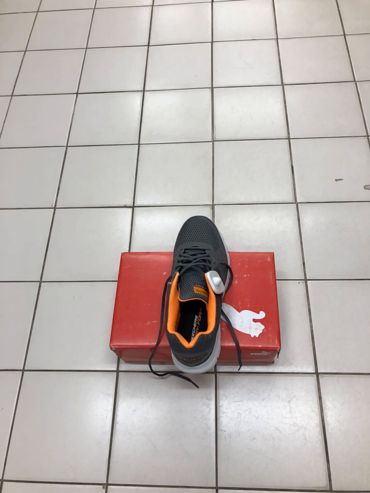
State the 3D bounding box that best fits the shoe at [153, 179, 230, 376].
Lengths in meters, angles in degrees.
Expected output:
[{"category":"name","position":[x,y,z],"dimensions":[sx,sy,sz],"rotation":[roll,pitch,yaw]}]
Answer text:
[{"category":"shoe","position":[0.019,0.052,0.707],"dimensions":[0.110,0.140,0.311],"rotation":[0,63,5]}]
